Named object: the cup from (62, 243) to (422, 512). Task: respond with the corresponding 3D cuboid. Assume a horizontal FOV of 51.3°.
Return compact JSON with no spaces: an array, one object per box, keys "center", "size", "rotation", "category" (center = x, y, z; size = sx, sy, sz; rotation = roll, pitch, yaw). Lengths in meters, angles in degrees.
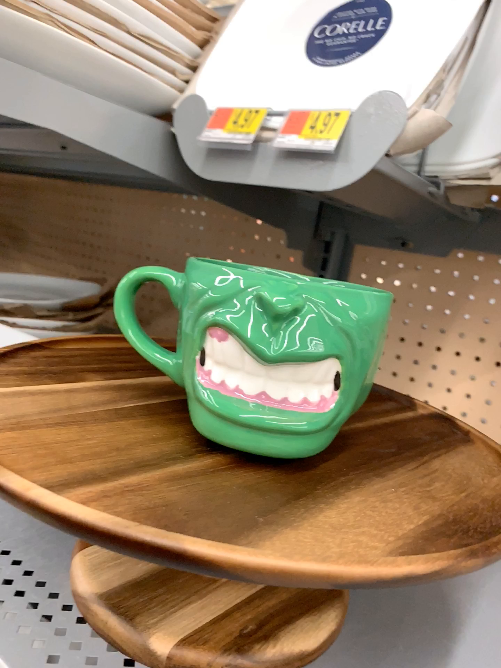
[{"center":[0.000,0.009,0.284],"size":[0.140,0.090,0.130],"rotation":[10,10,-2],"category":"cup"}]
